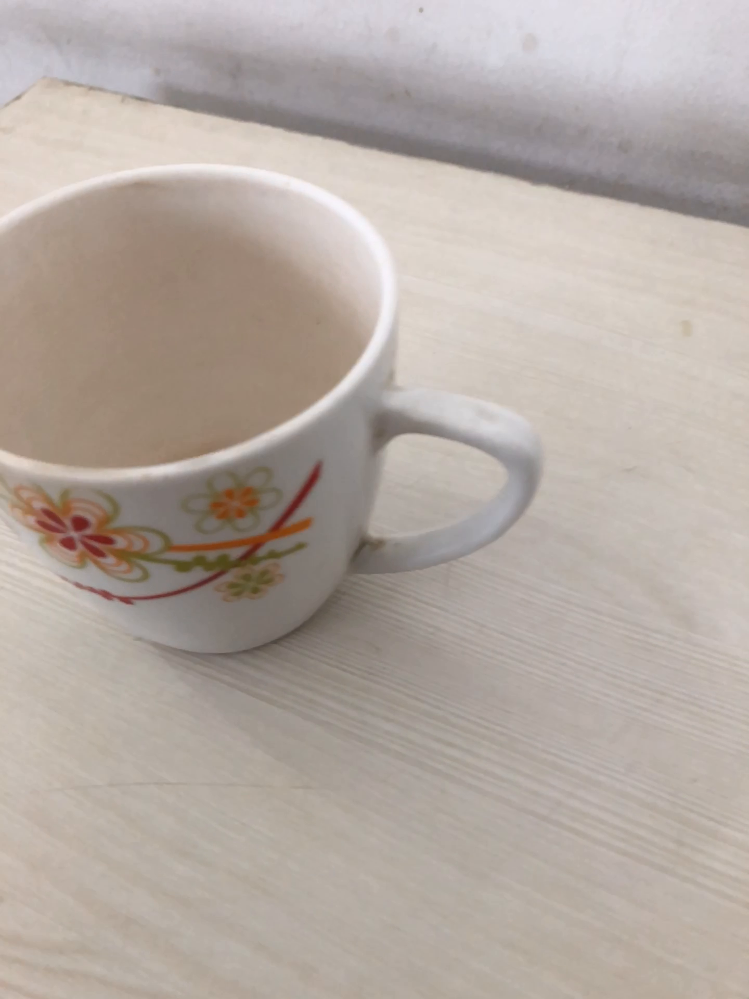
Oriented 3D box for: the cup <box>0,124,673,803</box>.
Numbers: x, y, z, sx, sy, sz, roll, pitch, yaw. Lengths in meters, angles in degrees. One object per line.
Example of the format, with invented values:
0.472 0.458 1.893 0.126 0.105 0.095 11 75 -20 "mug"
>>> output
-0.016 -0.008 0.150 0.110 0.070 0.070 14 53 12 "cup"
